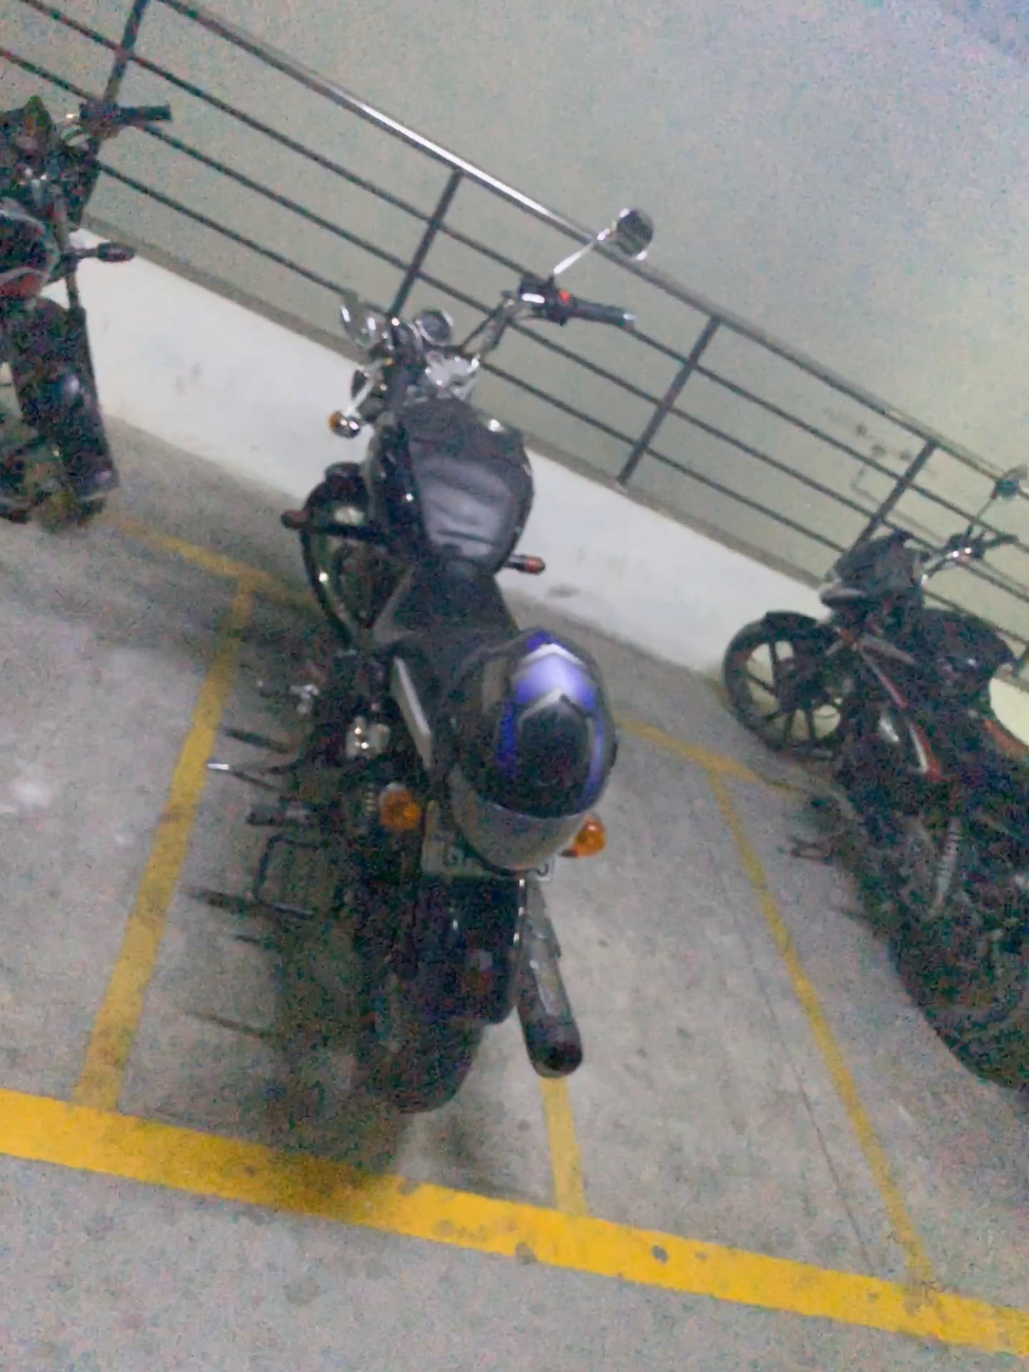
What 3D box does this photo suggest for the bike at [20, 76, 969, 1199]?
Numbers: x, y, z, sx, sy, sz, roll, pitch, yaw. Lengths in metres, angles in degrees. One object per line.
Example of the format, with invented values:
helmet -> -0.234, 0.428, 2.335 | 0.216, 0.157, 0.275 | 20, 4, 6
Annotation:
bike -> -0.302, -0.195, 2.123 | 0.843, 1.303, 1.670 | 17, 28, -29

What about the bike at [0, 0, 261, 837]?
bike -> -1.250, -0.701, 2.072 | 0.593, 1.193, 1.510 | 29, 25, -5
